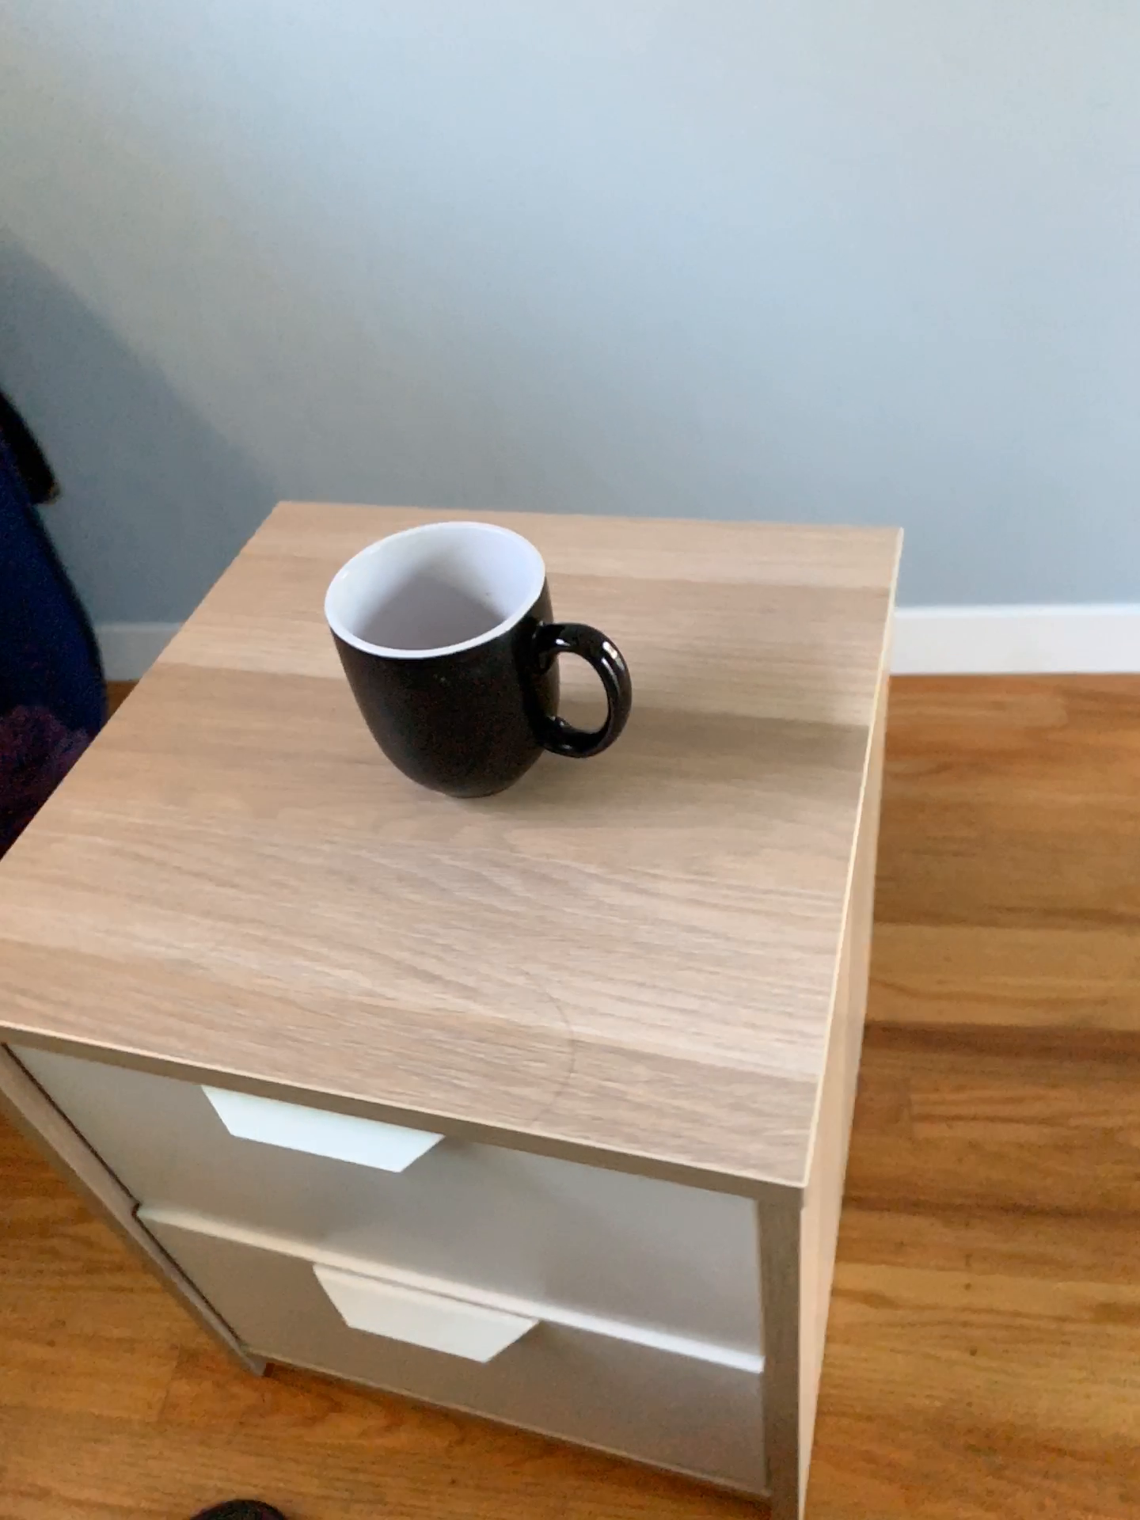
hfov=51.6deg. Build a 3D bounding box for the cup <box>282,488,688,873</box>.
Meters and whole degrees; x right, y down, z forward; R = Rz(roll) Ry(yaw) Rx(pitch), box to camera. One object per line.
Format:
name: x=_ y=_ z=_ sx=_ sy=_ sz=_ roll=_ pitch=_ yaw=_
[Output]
cup: x=-0.033 y=-0.040 z=0.554 sx=0.140 sy=0.119 sz=0.100 roll=14 pitch=49 yaw=24
